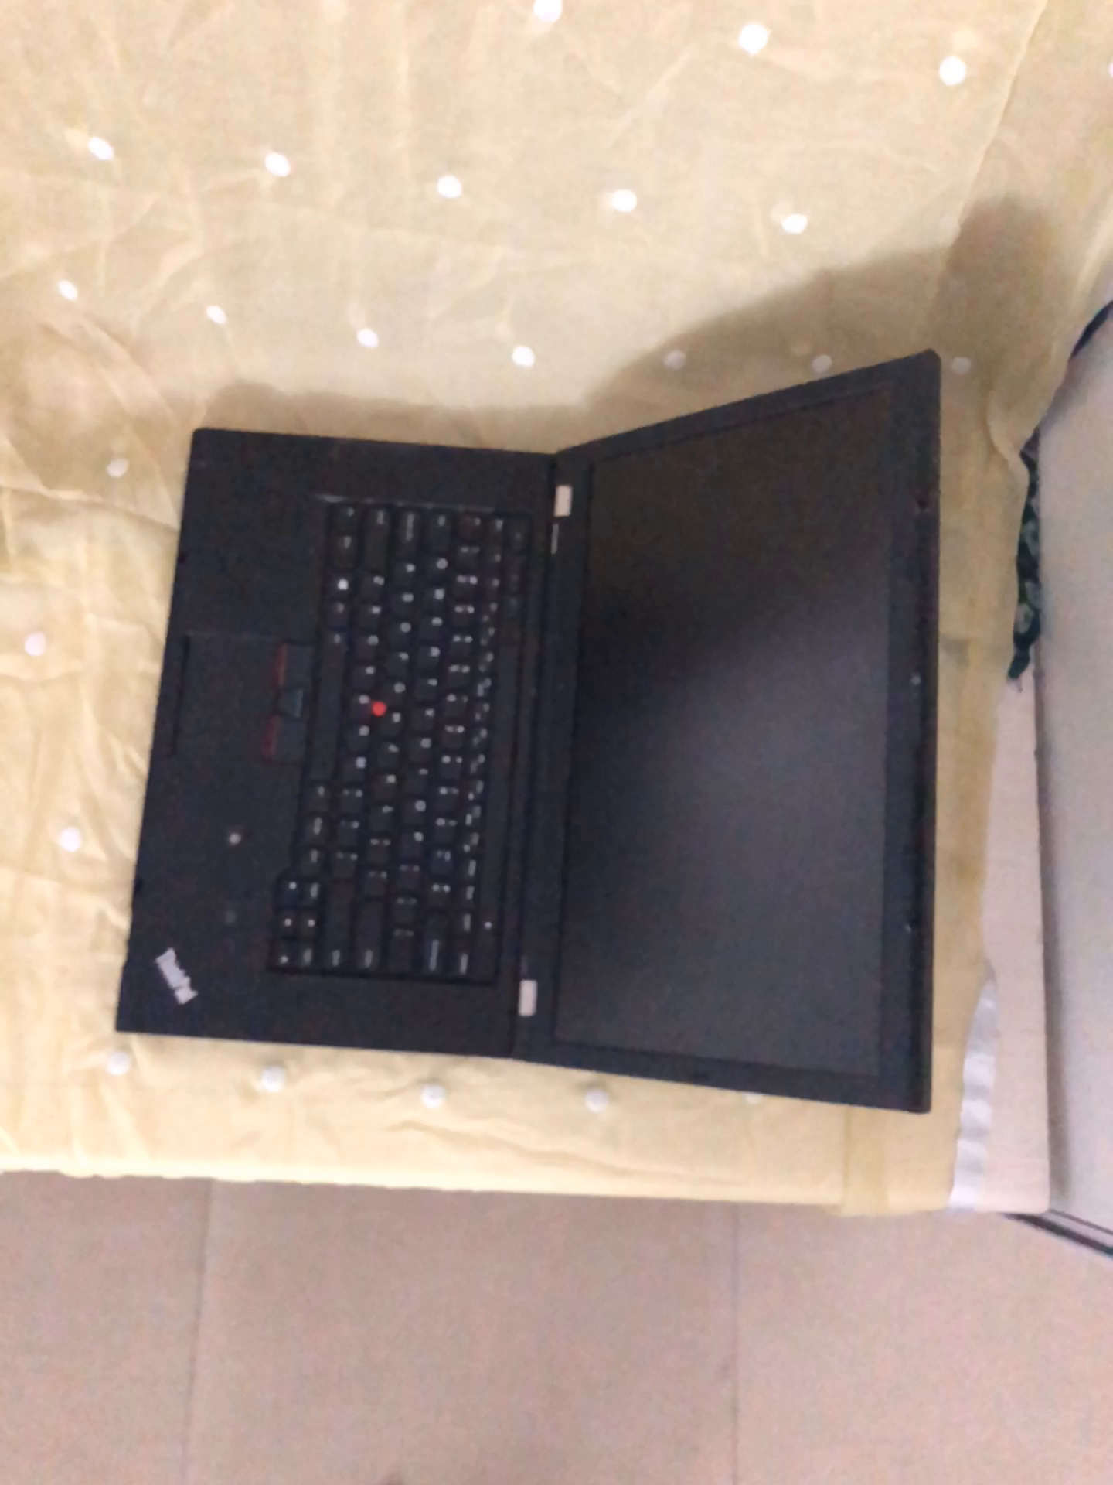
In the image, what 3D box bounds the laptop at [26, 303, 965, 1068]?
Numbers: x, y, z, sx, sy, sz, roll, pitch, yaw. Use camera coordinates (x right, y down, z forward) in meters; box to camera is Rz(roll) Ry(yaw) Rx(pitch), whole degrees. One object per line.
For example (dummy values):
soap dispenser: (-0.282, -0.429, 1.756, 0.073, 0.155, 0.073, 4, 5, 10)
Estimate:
laptop: (-0.025, -0.024, 0.664, 0.424, 0.157, 0.348, 4, 79, 3)
